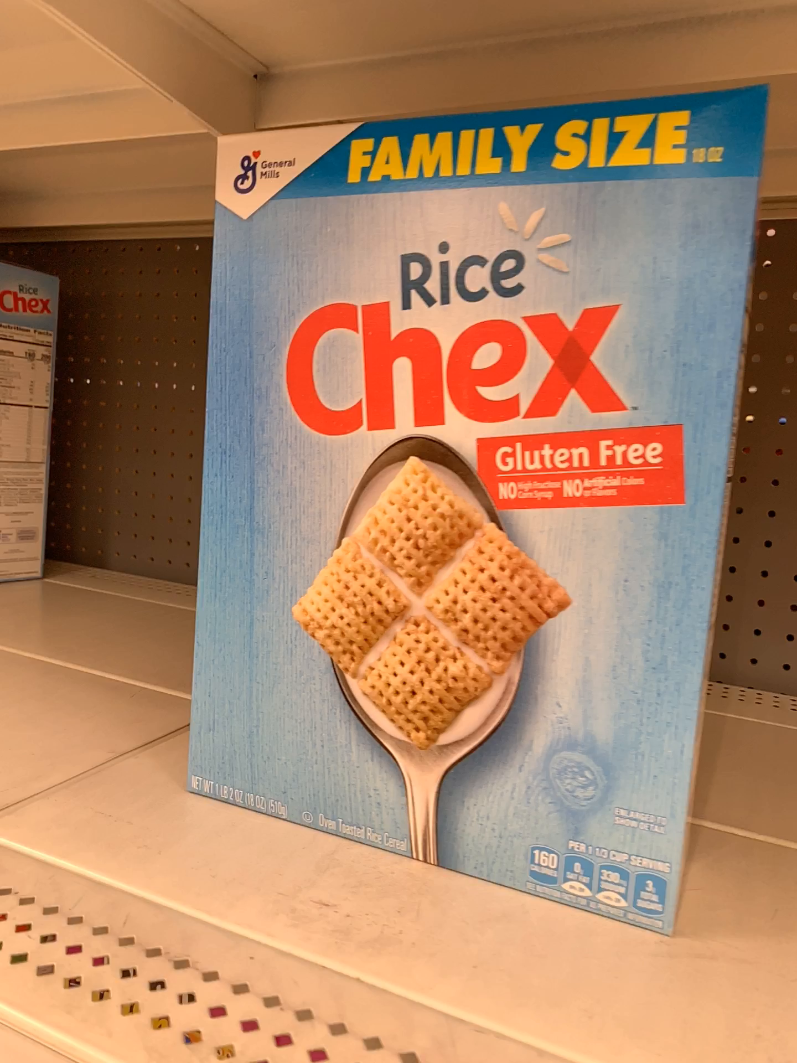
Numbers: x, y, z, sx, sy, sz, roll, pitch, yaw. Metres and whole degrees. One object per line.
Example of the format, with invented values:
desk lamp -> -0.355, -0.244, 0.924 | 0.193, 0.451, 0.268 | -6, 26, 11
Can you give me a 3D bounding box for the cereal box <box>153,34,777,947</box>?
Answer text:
cereal box -> 0.017, -0.022, 0.375 | 0.250, 0.319, 0.080 | 7, 7, 25
